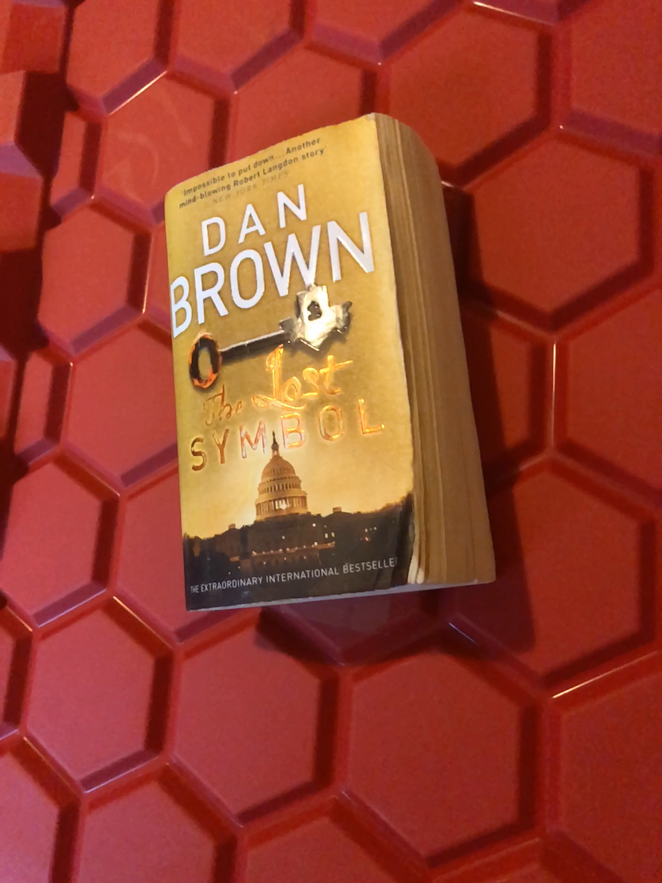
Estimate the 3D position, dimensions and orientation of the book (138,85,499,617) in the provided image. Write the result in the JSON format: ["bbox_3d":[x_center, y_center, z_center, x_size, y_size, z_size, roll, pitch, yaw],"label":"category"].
[{"bbox_3d":[-0.011,-0.028,0.300,0.122,0.051,0.183,-11,75,23],"label":"book"}]
